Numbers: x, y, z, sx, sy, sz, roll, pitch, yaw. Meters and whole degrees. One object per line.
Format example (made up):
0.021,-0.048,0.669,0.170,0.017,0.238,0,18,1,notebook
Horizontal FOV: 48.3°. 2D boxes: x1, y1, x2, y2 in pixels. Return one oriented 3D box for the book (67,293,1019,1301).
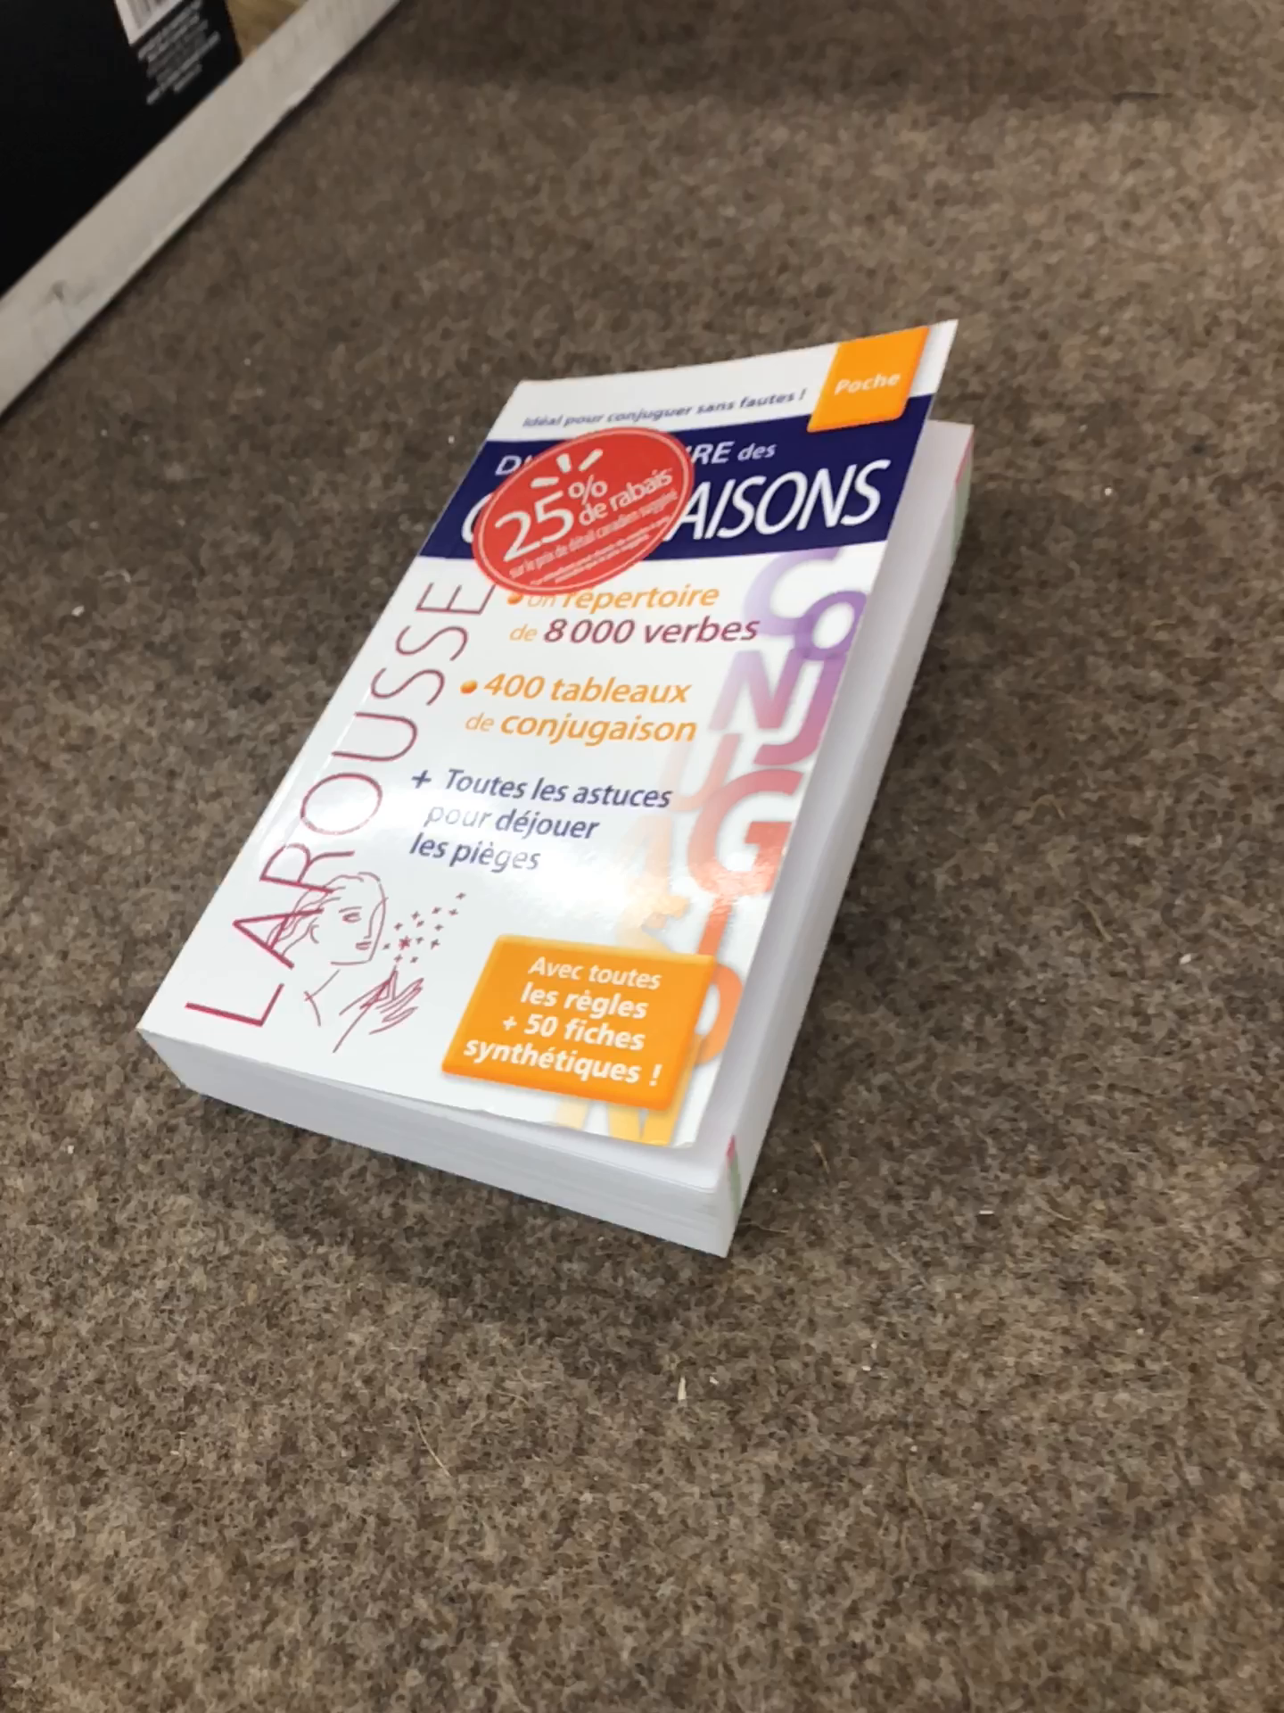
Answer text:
-0.005,-0.029,0.301,0.124,0.059,0.200,10,59,21,book
